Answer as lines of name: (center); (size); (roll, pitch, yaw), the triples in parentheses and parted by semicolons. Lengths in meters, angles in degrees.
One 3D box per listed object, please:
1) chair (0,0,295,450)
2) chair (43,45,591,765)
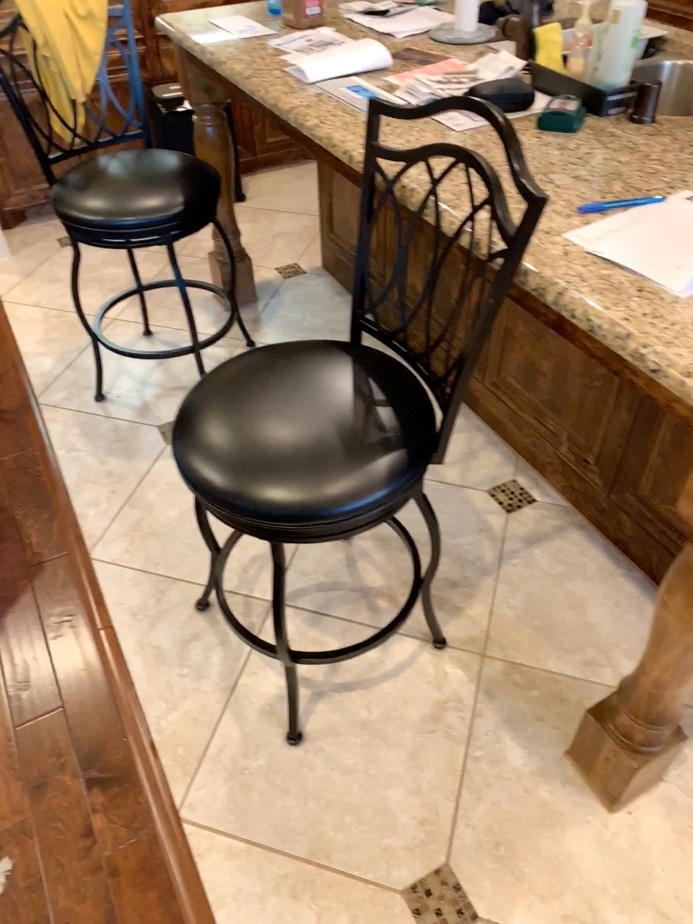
chair: (-0.551, -0.696, 1.867); (0.588, 1.098, 0.557); (-19, 46, -17)
chair: (-0.047, -0.034, 1.233); (0.505, 1.068, 0.469); (-24, 48, -22)
